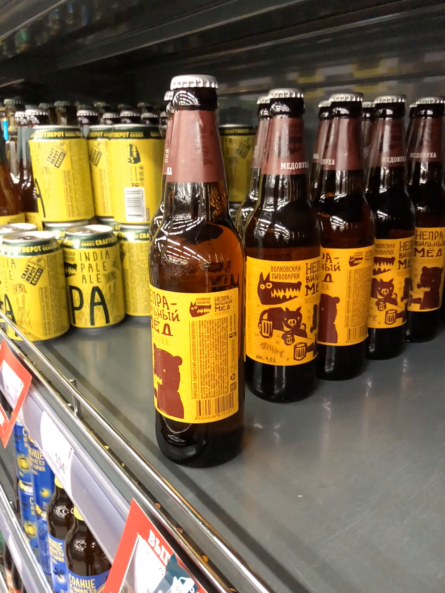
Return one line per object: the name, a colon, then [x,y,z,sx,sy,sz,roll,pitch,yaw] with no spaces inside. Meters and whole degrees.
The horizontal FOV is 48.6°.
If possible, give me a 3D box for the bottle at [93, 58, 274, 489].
bottle: [-0.023,-0.013,0.318,0.070,0.243,0.080,-15,23,-37]
